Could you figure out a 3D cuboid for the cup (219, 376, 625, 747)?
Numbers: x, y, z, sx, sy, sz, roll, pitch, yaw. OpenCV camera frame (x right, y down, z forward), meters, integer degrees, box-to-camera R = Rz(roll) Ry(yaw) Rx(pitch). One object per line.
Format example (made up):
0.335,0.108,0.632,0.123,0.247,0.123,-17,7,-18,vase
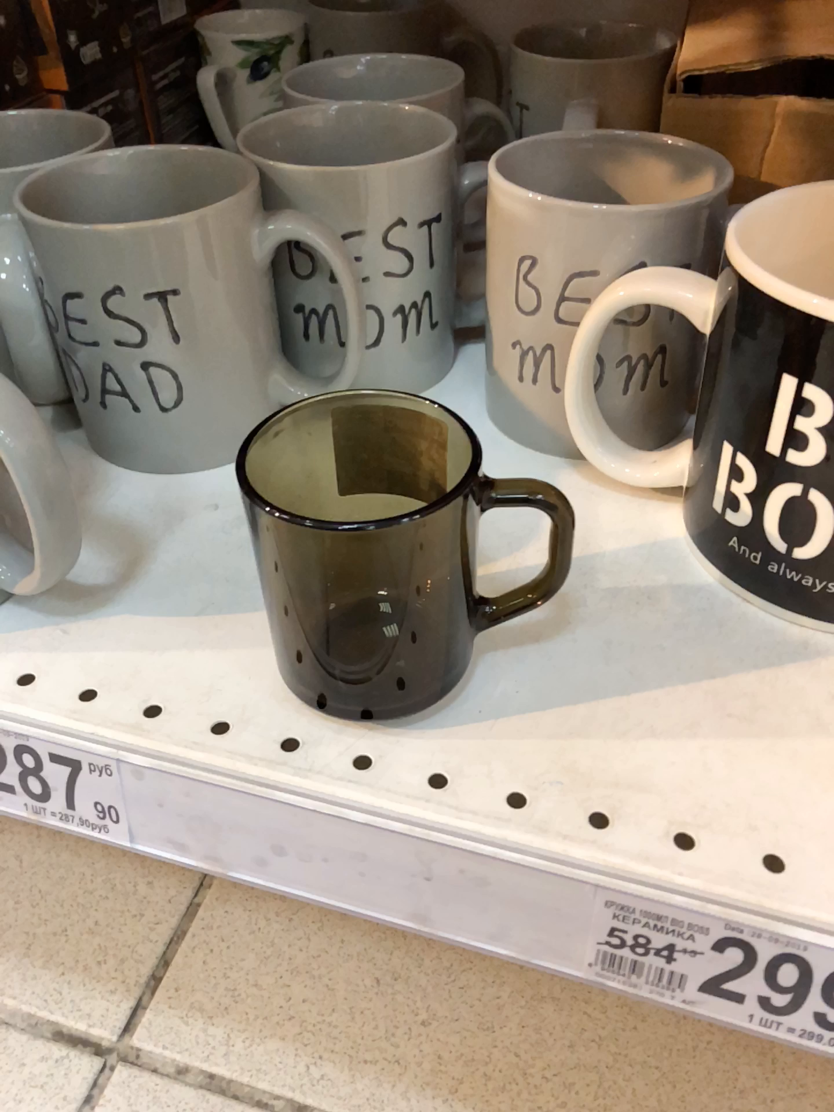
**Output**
-0.002,-0.001,0.292,0.105,0.074,0.082,-5,40,-4,cup
